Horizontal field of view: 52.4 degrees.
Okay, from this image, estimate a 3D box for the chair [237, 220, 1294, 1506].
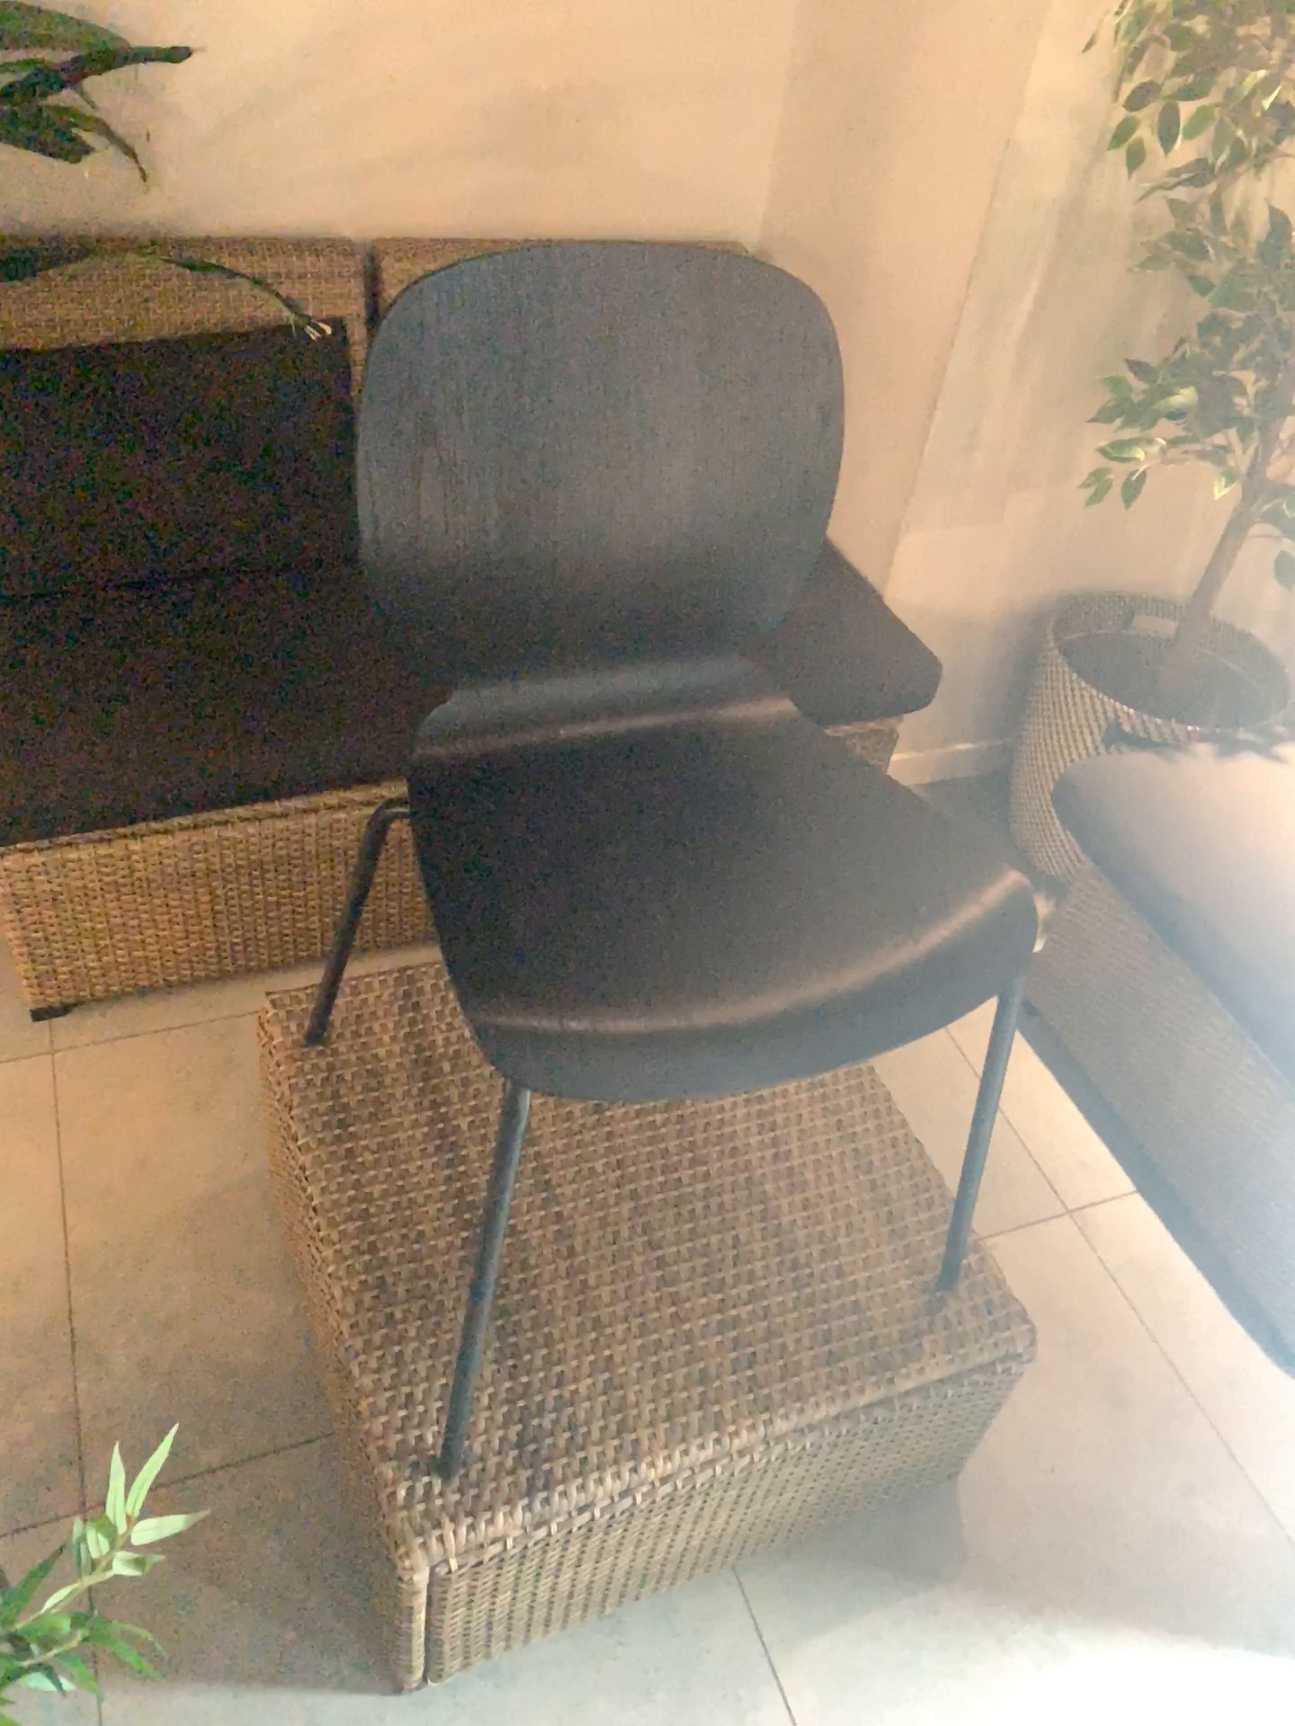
[{"bbox_3d":[0.026,-0.012,1.055,0.531,0.767,0.562,-11,46,-23],"label":"chair"}]
